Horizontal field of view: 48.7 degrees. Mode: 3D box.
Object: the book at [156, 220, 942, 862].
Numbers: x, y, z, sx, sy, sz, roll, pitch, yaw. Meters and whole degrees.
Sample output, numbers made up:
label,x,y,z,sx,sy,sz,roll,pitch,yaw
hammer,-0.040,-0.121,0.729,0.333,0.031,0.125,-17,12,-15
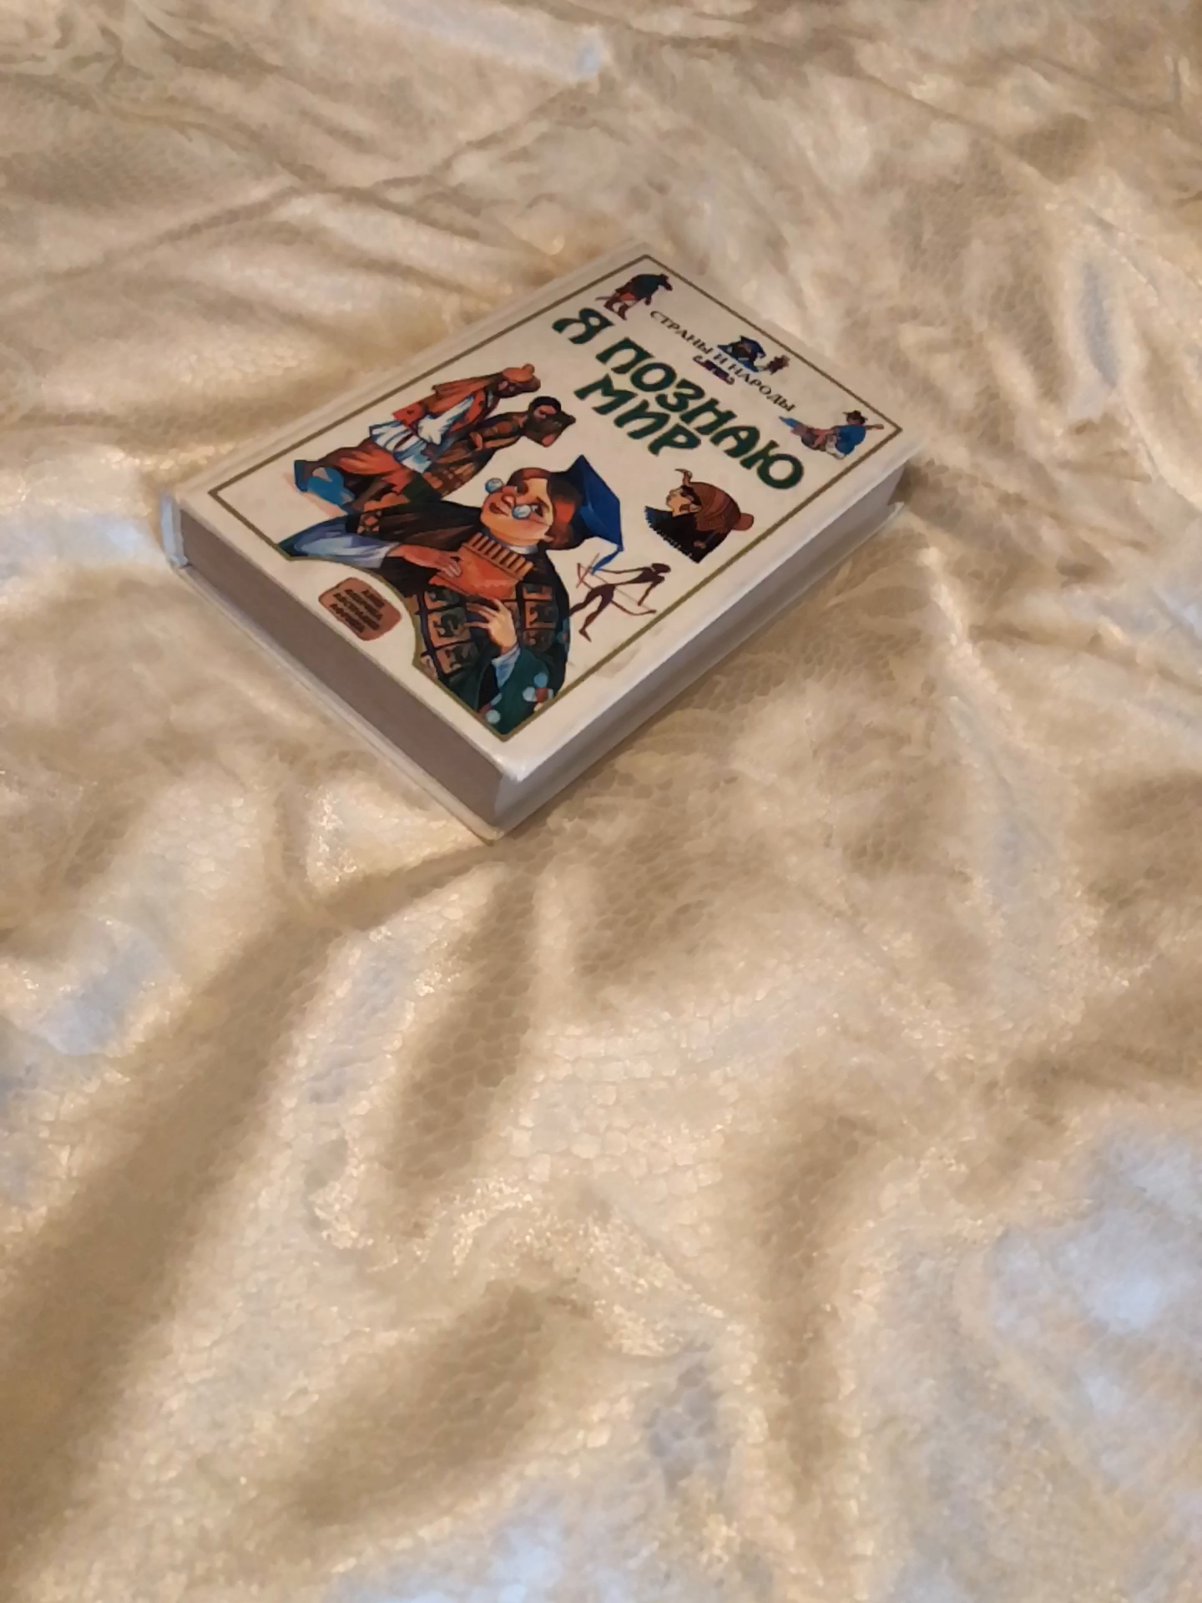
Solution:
label,x,y,z,sx,sy,sz,roll,pitch,yaw
book,-0.008,-0.092,0.400,0.134,0.037,0.198,40,57,14
